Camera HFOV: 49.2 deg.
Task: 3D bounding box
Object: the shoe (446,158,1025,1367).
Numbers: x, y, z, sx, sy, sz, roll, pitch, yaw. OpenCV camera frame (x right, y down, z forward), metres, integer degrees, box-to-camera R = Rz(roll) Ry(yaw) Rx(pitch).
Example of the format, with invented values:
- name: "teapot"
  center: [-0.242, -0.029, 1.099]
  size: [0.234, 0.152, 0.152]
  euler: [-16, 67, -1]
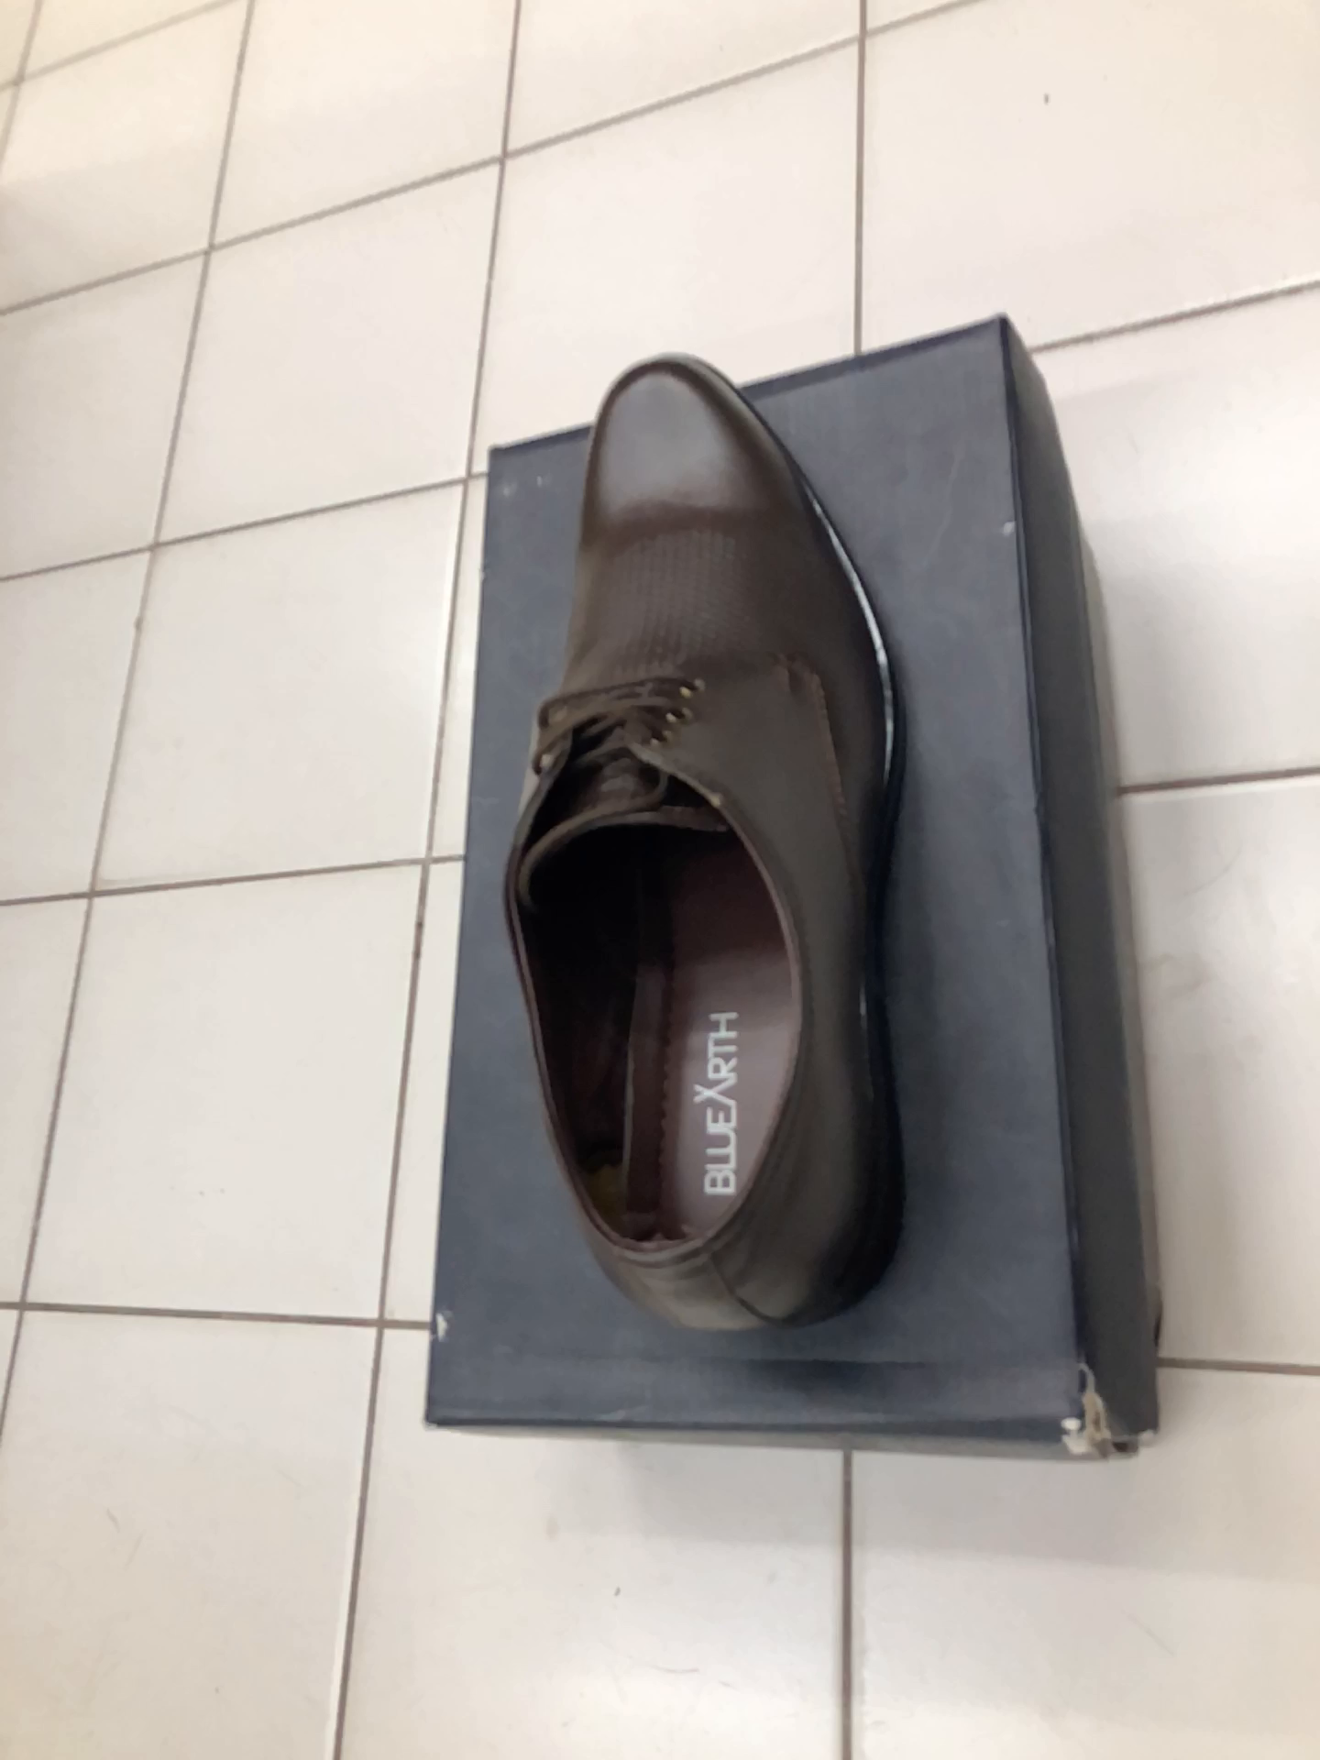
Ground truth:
- name: "shoe"
  center: [0.018, -0.027, 0.396]
  size: [0.110, 0.100, 0.301]
  euler: [-10, 69, 22]
